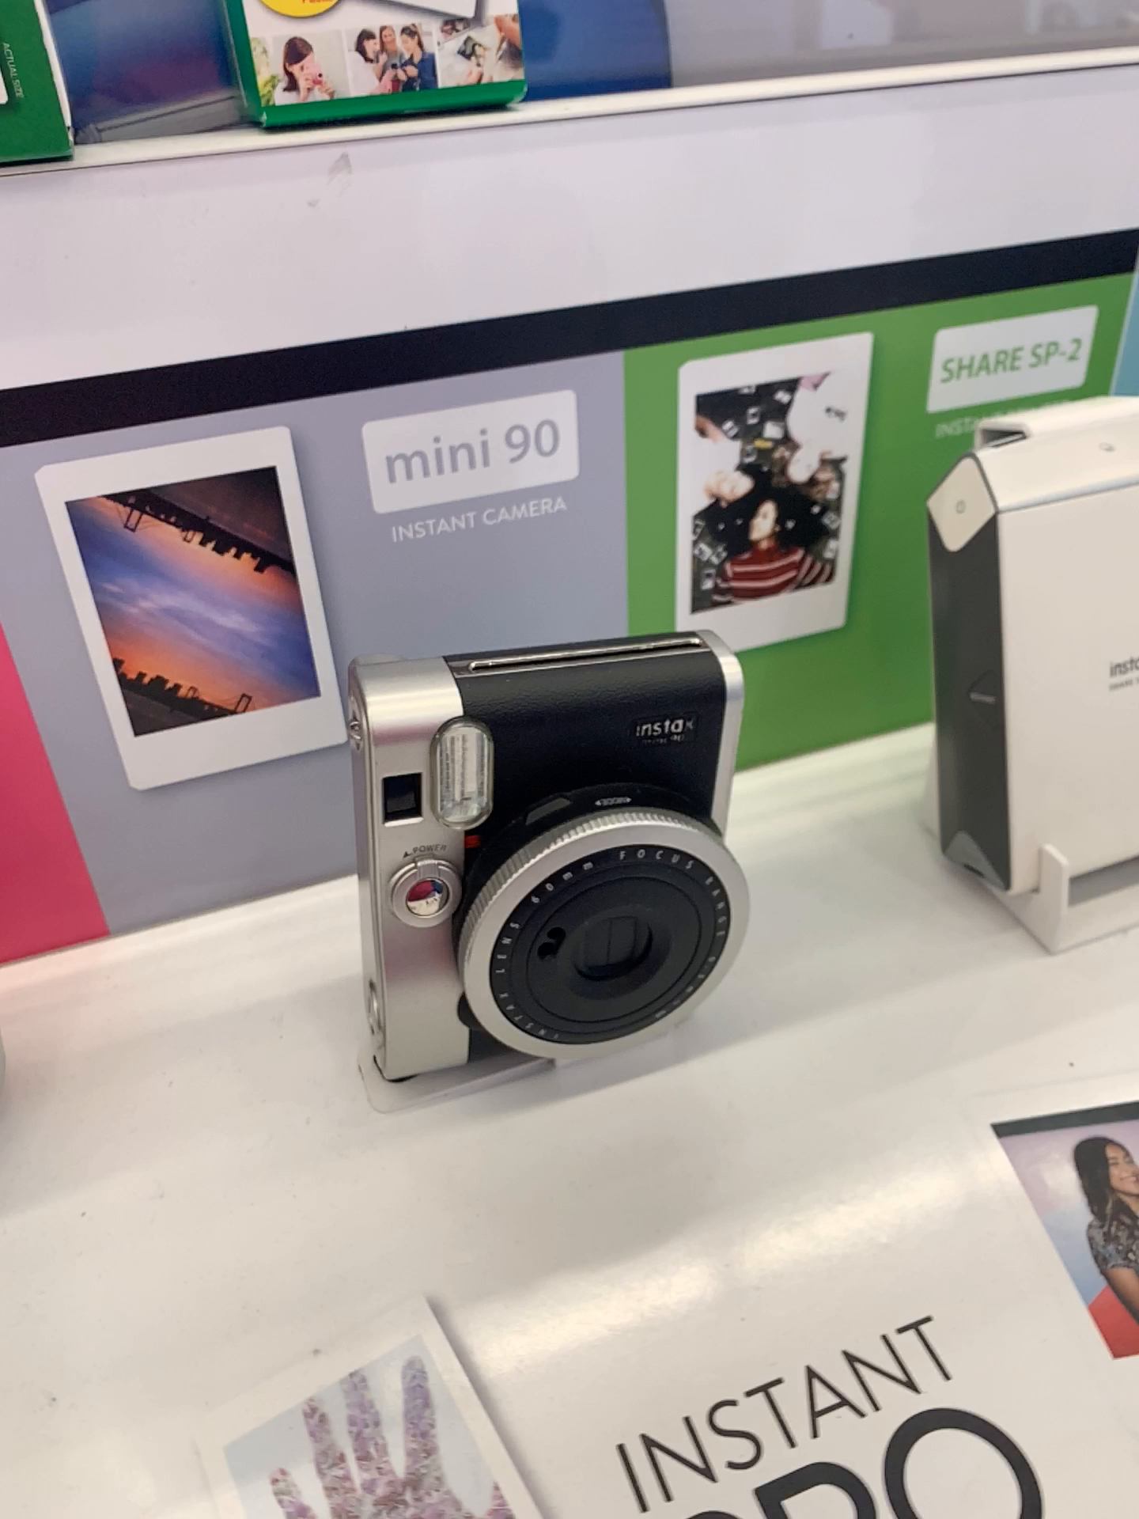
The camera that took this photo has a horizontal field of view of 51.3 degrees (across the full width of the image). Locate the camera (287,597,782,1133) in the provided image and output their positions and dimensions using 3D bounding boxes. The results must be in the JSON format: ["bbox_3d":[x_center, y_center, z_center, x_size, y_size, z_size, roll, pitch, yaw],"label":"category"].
[{"bbox_3d":[-0.011,0.025,0.291,0.100,0.109,0.050,-8,34,-14],"label":"camera"}]
